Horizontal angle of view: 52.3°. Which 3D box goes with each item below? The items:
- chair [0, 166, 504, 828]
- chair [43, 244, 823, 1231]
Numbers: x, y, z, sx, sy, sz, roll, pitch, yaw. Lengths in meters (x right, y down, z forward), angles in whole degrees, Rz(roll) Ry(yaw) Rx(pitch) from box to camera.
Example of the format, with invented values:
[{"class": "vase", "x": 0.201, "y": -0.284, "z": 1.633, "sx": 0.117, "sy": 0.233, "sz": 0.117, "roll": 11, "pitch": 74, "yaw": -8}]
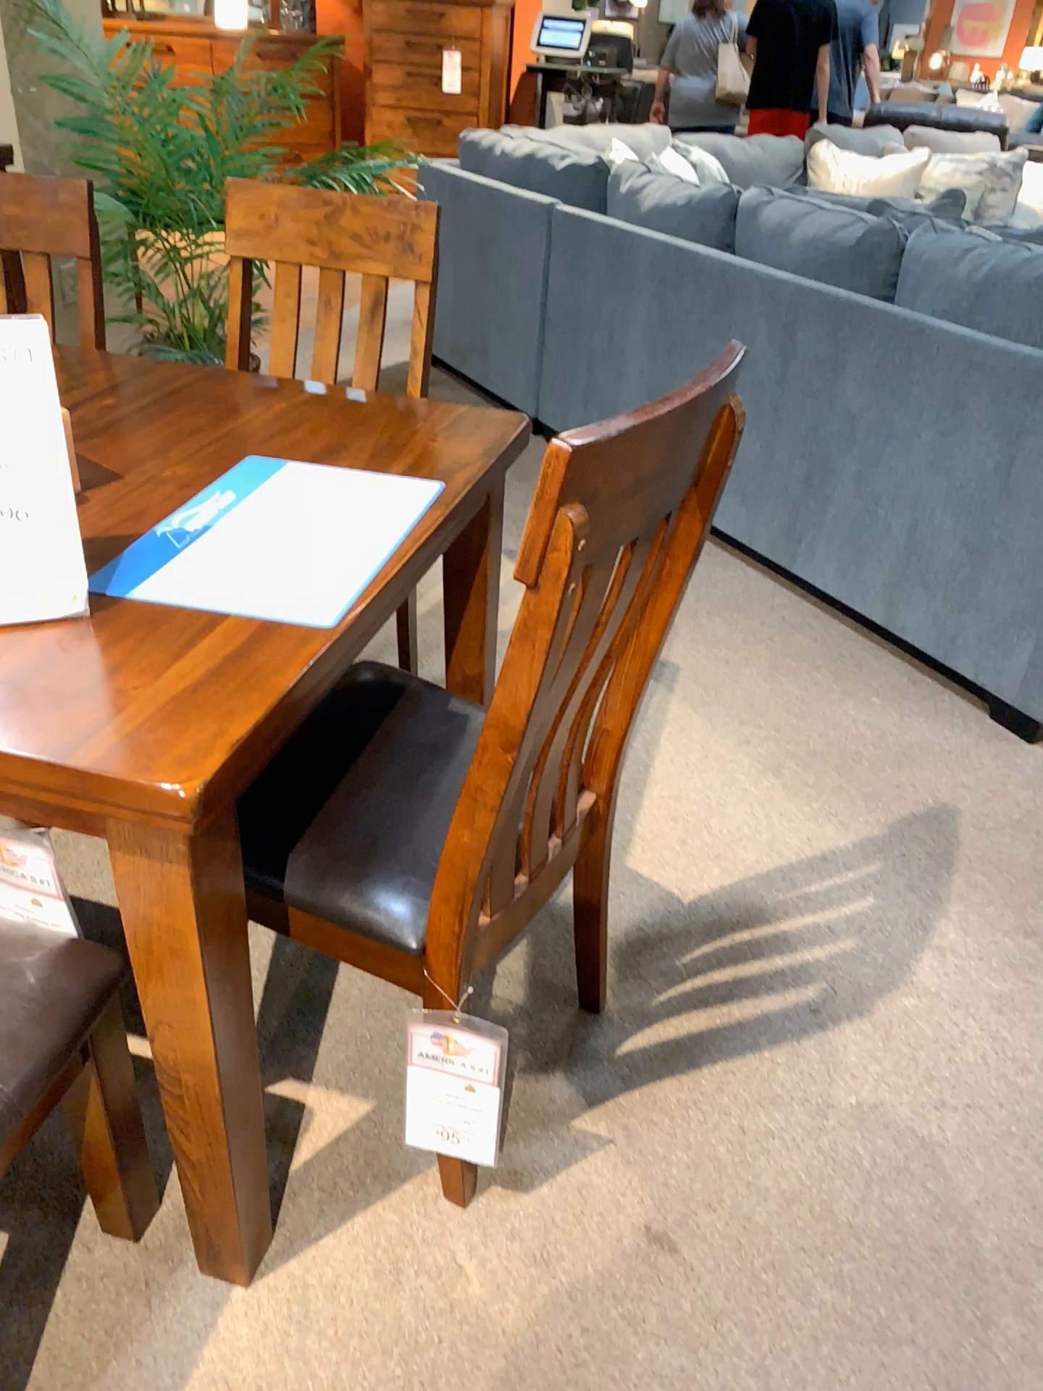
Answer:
[{"class": "chair", "x": -0.407, "y": -0.345, "z": 1.788, "sx": 0.591, "sy": 0.890, "sz": 0.532, "roll": 10, "pitch": 32, "yaw": 9}, {"class": "chair", "x": -0.082, "y": 0.014, "z": 1.251, "sx": 0.539, "sy": 0.890, "sz": 0.533, "roll": 21, "pitch": 35, "yaw": 24}]
